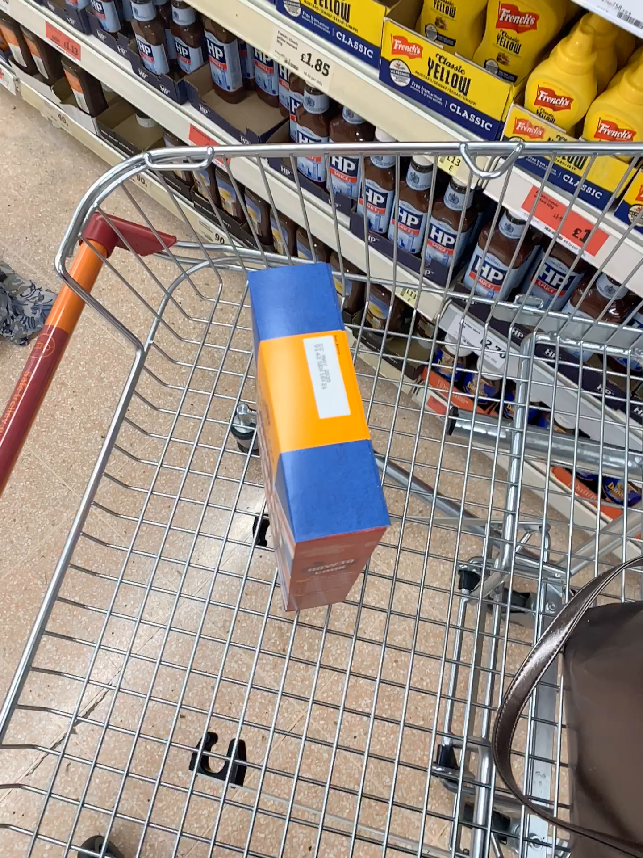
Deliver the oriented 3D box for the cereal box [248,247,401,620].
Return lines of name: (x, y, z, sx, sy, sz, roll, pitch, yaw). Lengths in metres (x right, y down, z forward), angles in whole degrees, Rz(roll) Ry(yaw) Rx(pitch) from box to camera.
cereal box: (-0.011, 0.026, 0.479, 0.050, 0.259, 0.181, -9, 67, -8)
